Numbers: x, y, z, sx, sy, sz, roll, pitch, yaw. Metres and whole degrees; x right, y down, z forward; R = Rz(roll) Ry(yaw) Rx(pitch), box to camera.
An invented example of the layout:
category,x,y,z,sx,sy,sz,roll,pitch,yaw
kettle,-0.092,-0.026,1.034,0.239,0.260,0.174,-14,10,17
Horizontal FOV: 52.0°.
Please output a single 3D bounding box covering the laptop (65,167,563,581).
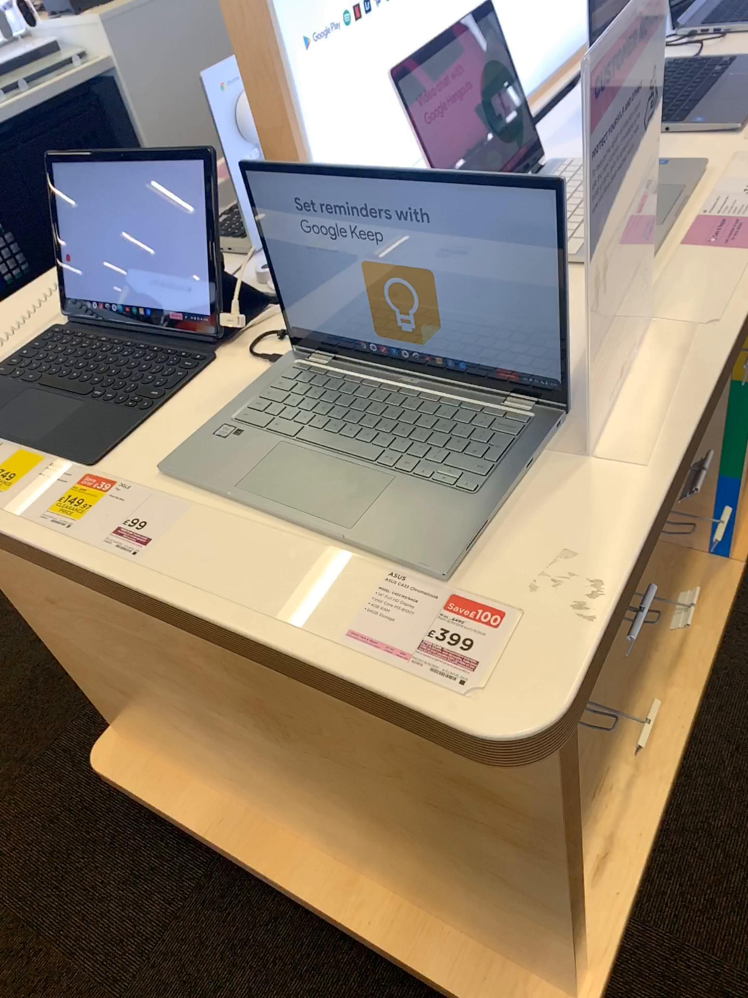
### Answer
category,x,y,z,sx,sy,sz,roll,pitch,yaw
laptop,-0.039,-0.122,0.628,0.318,0.195,0.204,19,52,33
